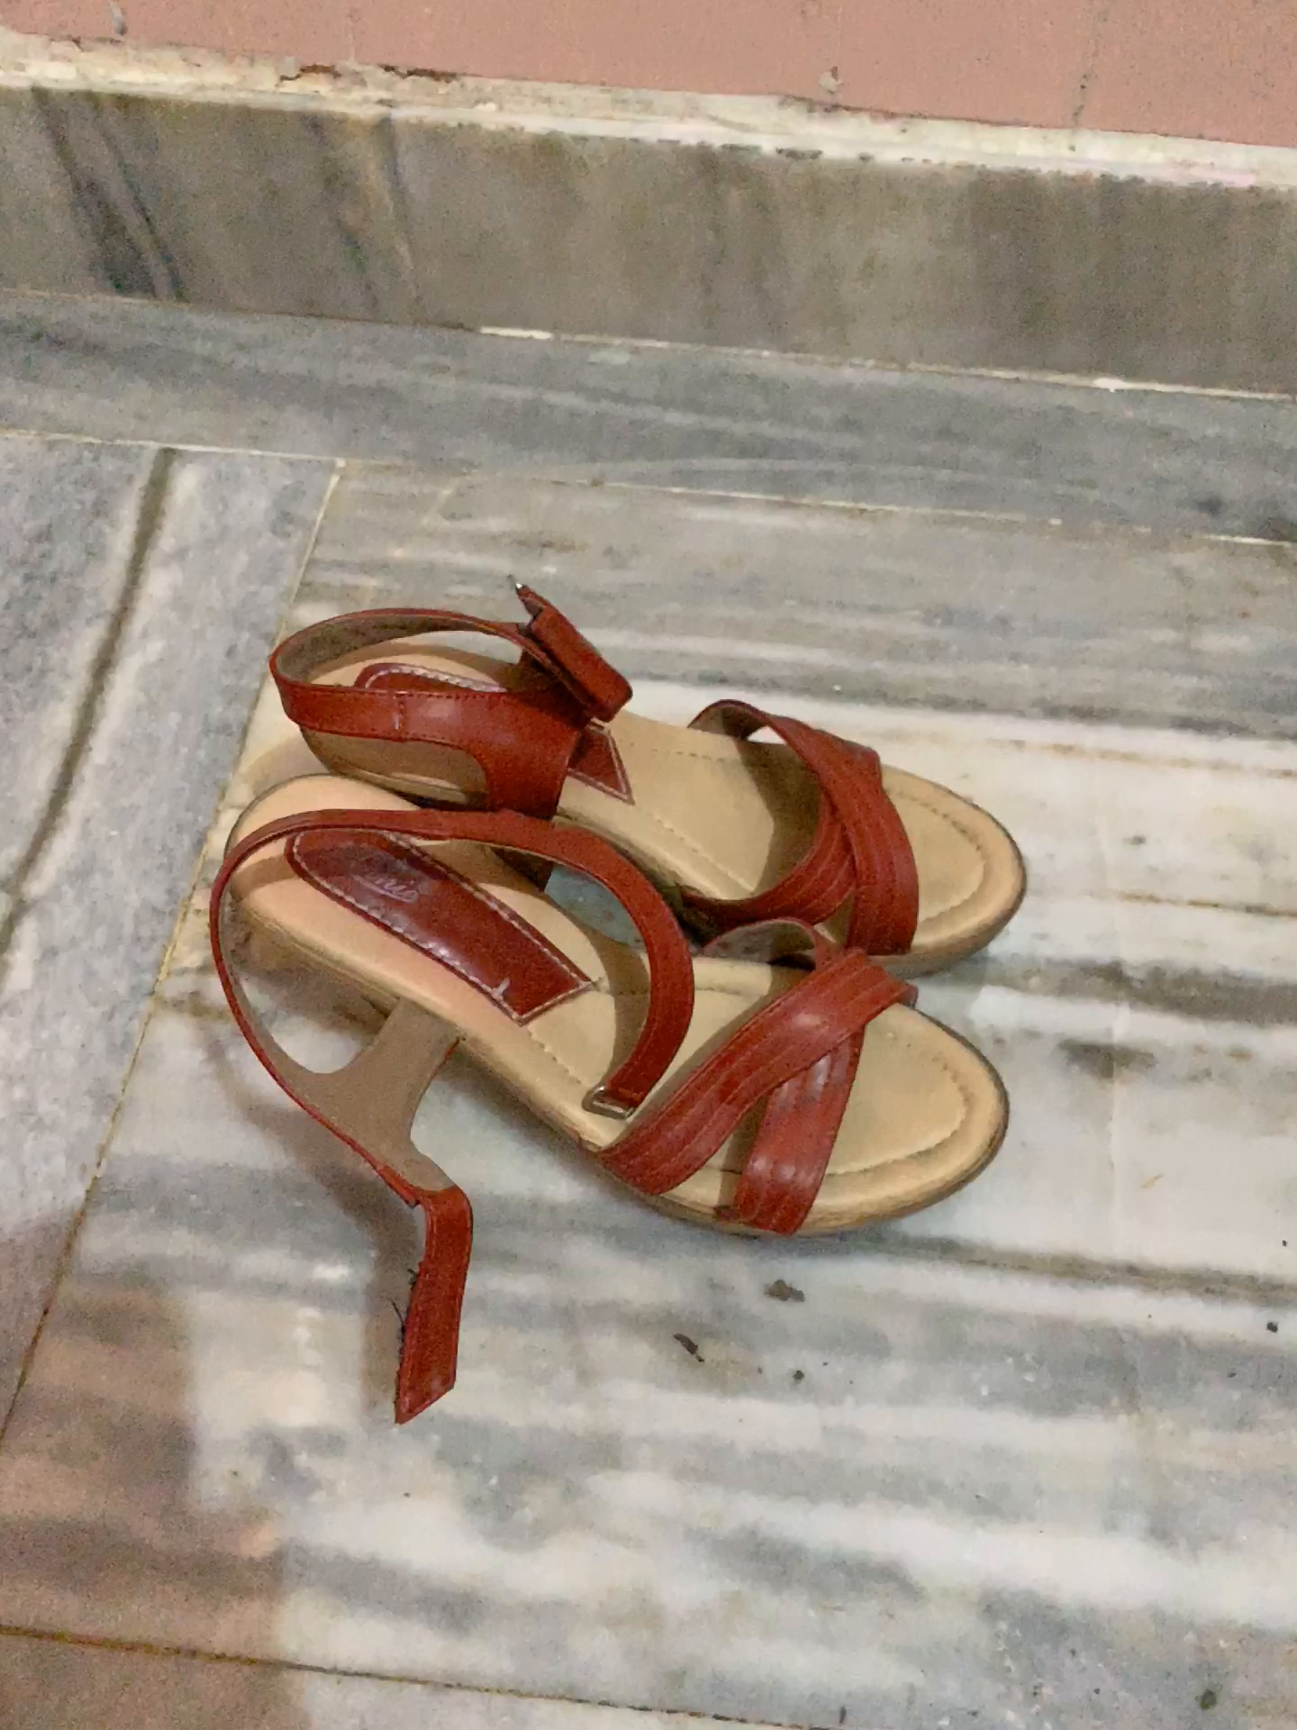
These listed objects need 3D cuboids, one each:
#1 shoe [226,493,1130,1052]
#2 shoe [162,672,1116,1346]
[{"bbox_3d":[0.012,-0.028,0.418,0.240,0.100,0.100,9,57,4],"label":"shoe"},{"bbox_3d":[-0.002,0.043,0.404,0.240,0.100,0.100,17,57,9],"label":"shoe"}]
